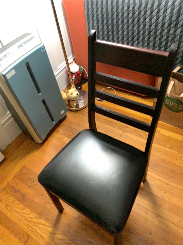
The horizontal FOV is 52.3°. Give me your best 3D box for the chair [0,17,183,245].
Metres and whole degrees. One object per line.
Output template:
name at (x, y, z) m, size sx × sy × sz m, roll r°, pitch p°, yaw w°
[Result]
chair at (0.028, 0.143, 0.799) m, size 0.491 × 0.866 × 0.551 m, roll 20°, pitch 55°, yaw 25°
